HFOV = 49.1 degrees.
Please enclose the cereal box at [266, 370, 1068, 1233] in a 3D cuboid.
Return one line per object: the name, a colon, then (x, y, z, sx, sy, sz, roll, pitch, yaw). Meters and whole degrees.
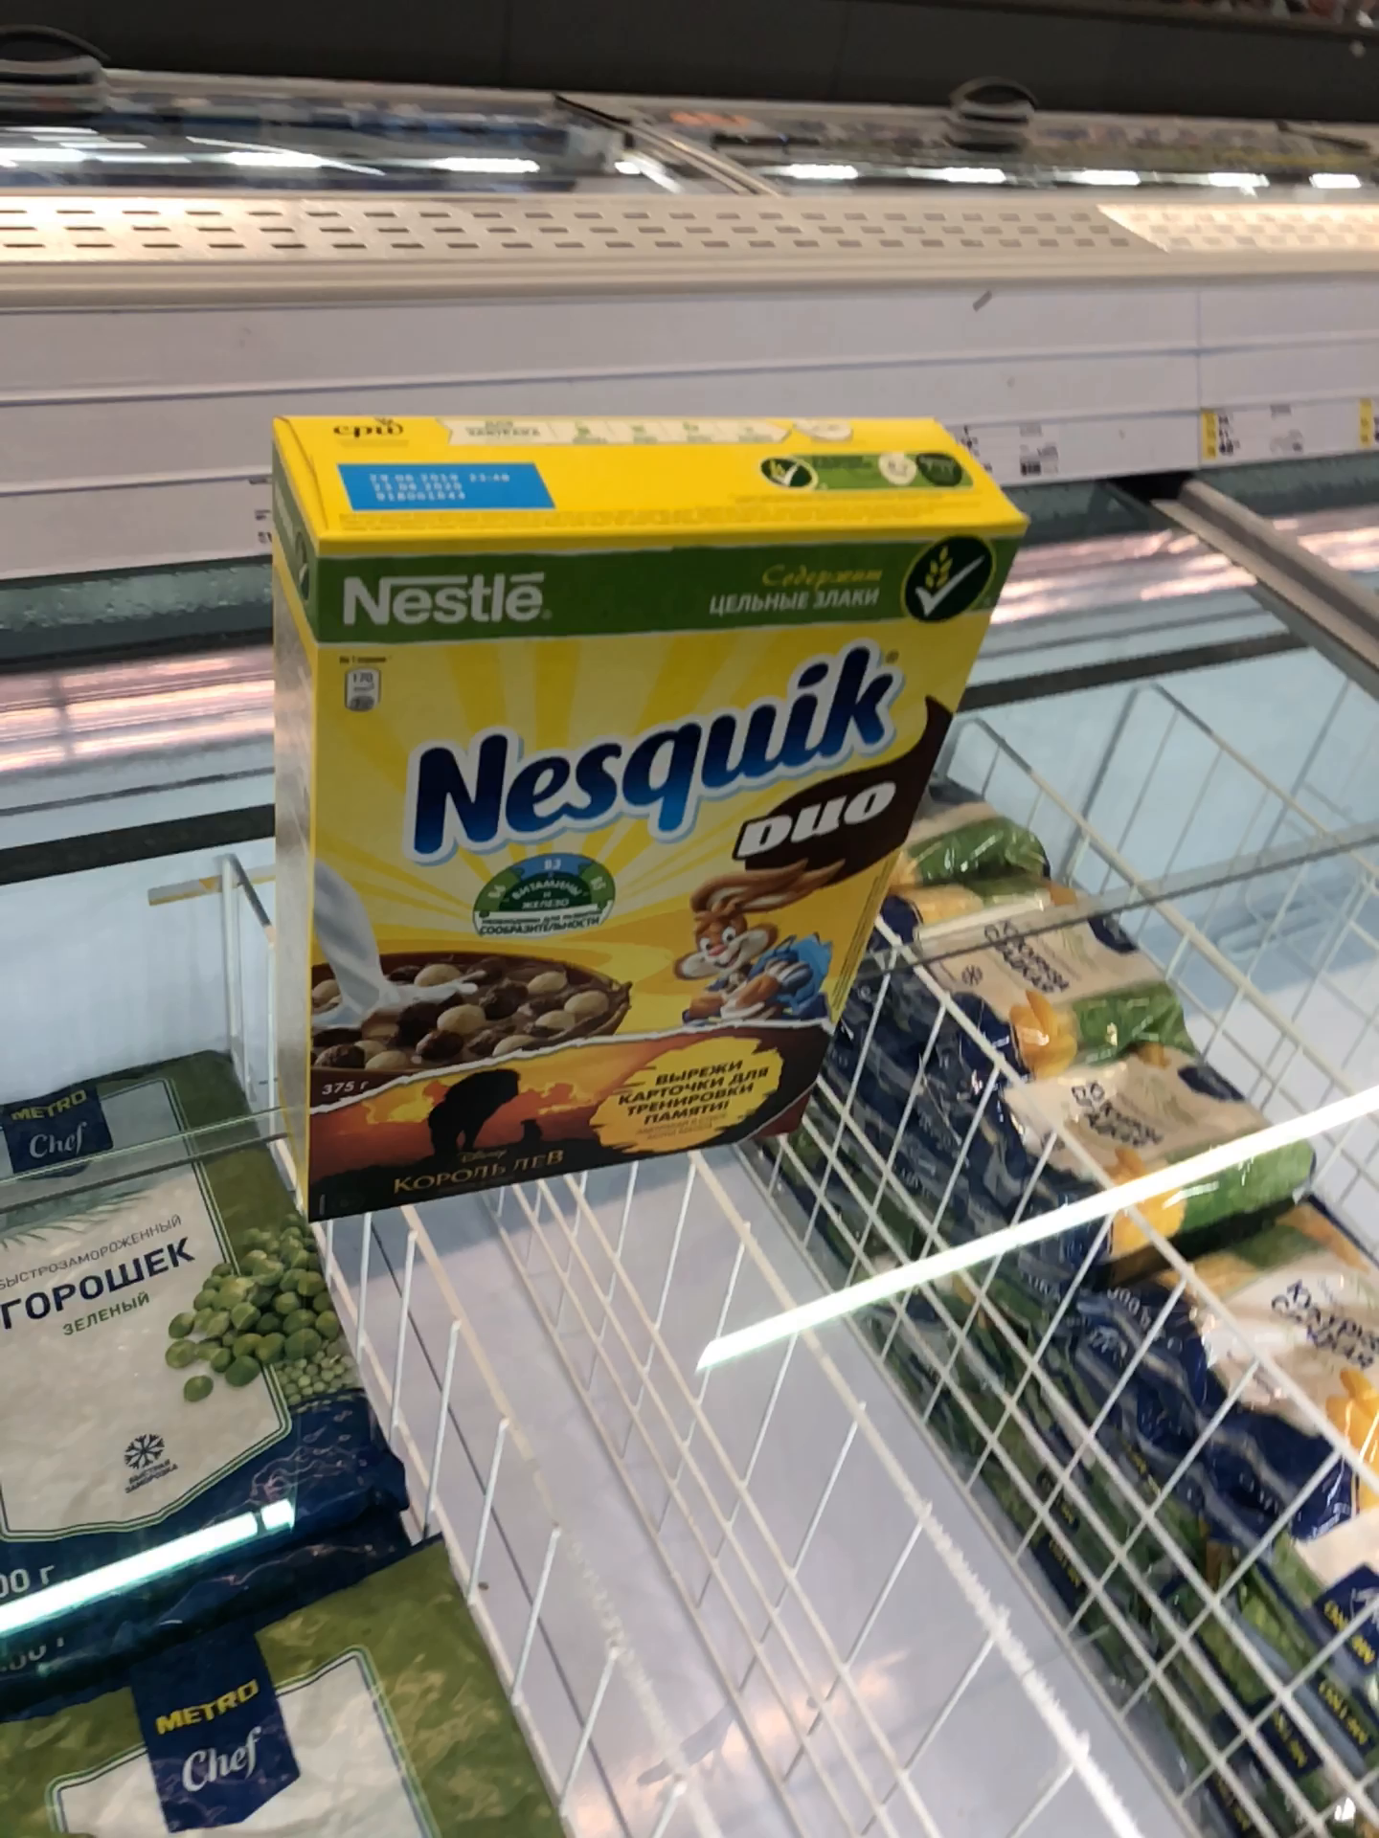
cereal box: (-0.025, -0.027, 0.488, 0.200, 0.278, 0.070, -7, 46, -21)
